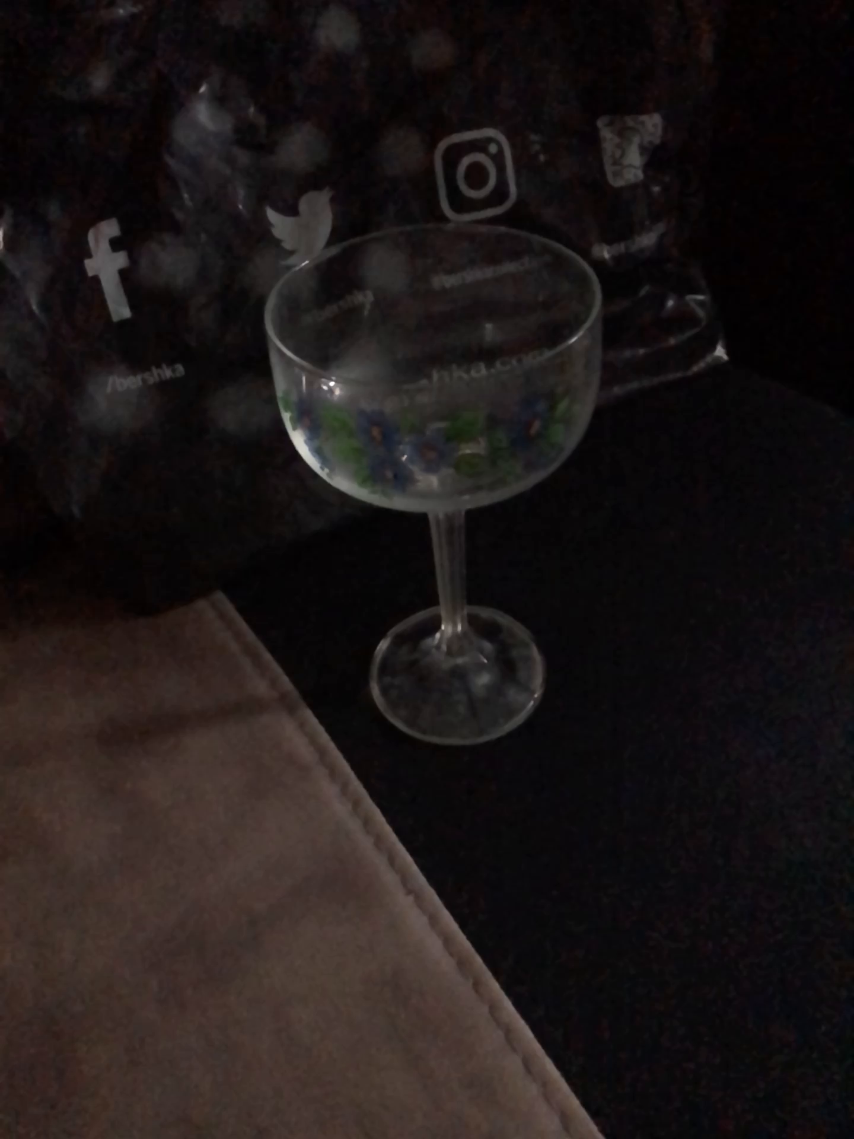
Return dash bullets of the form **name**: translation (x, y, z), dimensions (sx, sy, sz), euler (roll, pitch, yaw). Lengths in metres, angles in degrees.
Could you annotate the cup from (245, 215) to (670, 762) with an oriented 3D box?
- **cup**: translation (0.006, -0.020, 0.295), dimensions (0.096, 0.147, 0.085), euler (-2, 45, -1)
